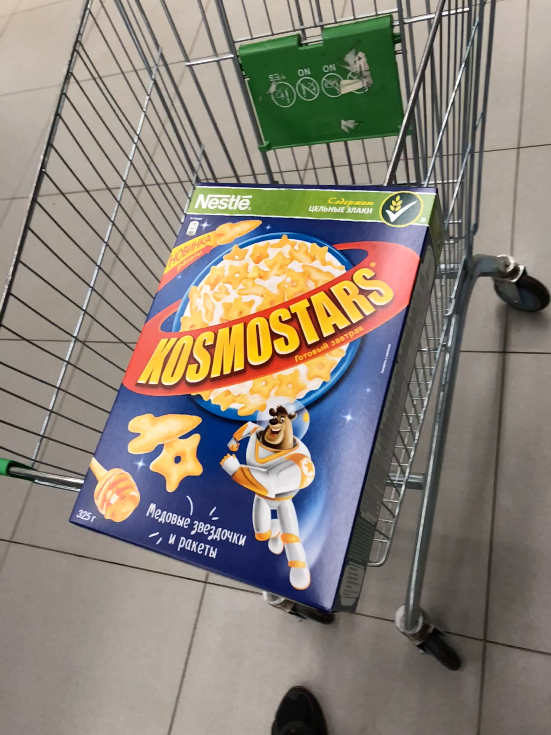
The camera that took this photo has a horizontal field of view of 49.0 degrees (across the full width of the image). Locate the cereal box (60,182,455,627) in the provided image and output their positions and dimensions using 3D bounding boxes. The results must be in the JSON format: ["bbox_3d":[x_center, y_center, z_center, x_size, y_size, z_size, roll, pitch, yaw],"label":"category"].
[{"bbox_3d":[-0.006,0.005,0.428,0.200,0.060,0.280,9,72,27],"label":"cereal box"}]
